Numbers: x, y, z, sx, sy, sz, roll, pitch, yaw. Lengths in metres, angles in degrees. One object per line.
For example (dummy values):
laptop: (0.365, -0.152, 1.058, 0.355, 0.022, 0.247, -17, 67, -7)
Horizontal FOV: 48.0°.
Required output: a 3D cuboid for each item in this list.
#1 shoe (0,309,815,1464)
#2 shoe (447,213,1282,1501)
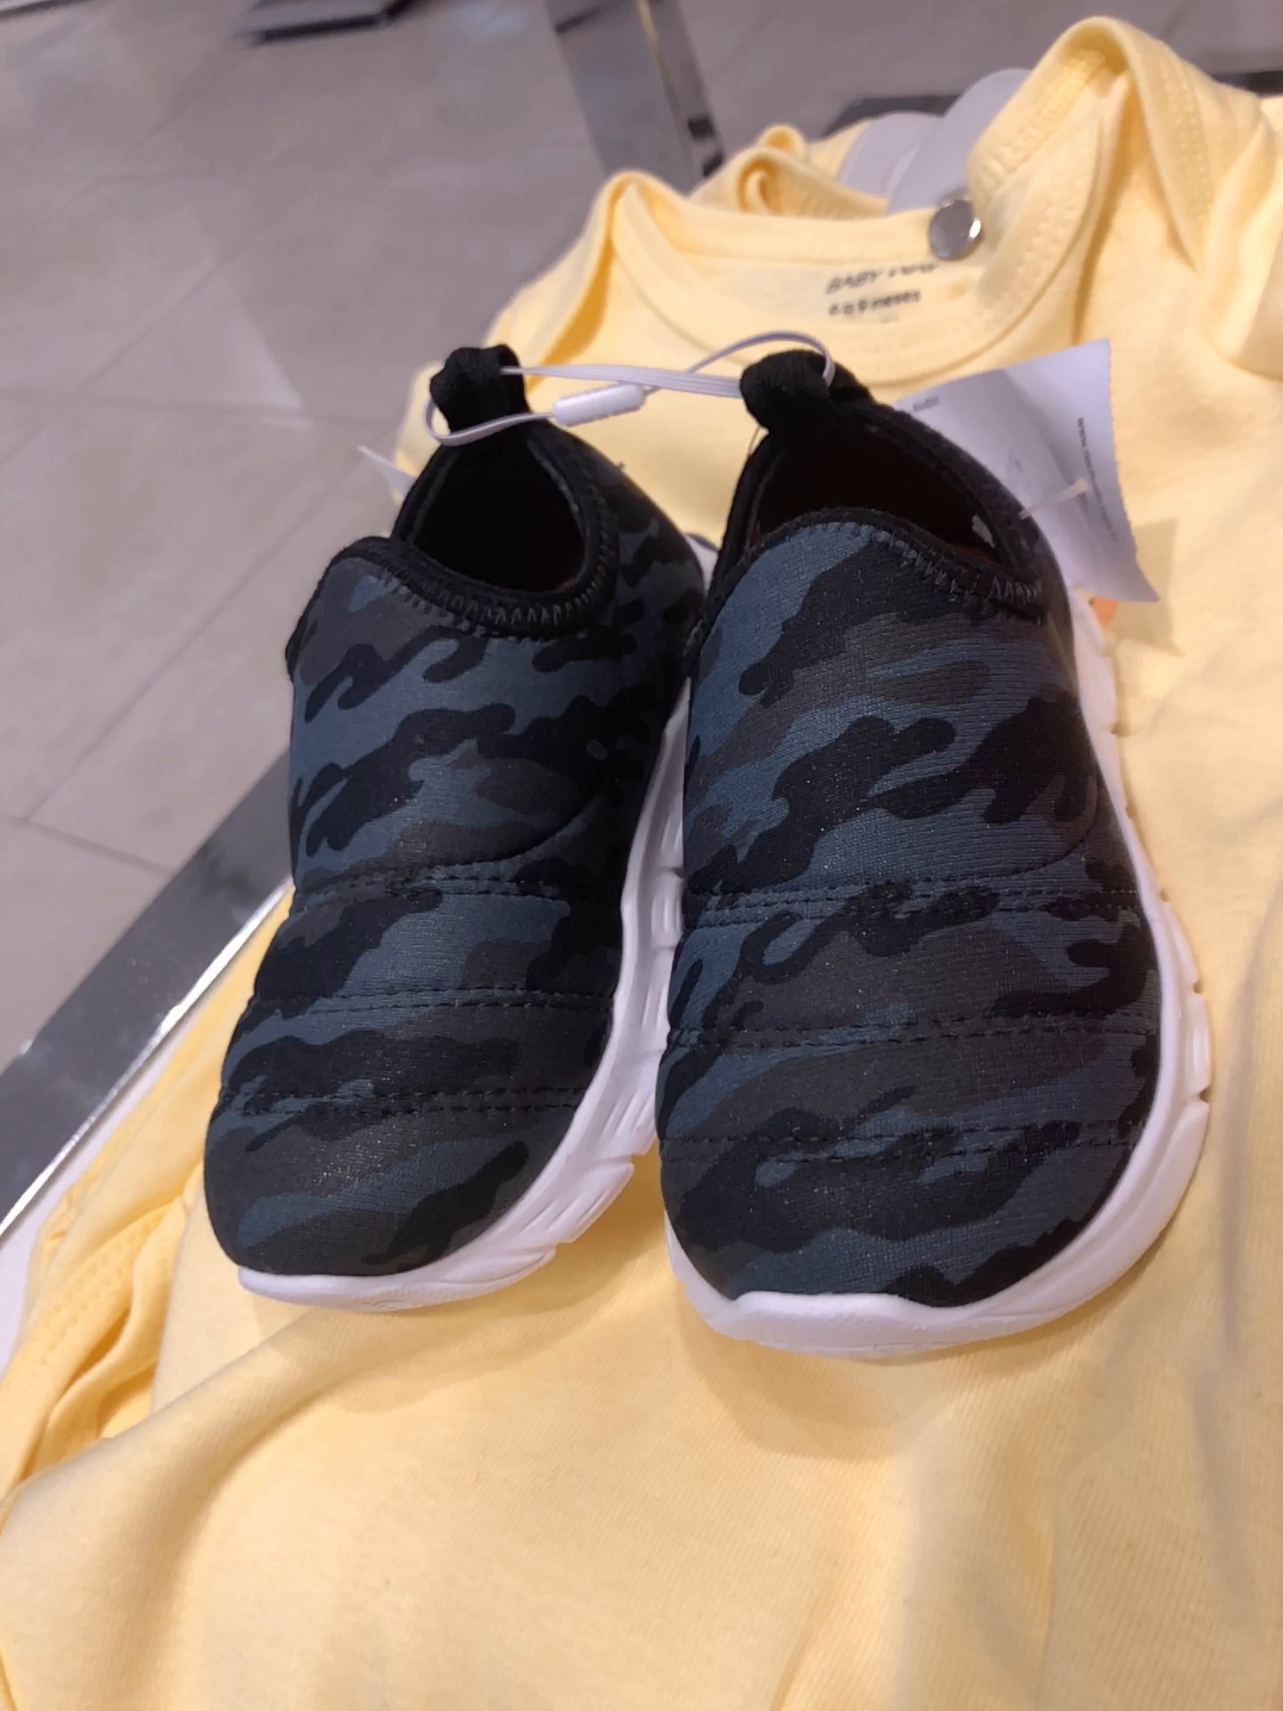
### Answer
shoe: (-0.028, -0.001, 0.223, 0.070, 0.079, 0.151, -2, 50, 23)
shoe: (0.035, -0.006, 0.189, 0.070, 0.070, 0.151, -8, 48, 18)
